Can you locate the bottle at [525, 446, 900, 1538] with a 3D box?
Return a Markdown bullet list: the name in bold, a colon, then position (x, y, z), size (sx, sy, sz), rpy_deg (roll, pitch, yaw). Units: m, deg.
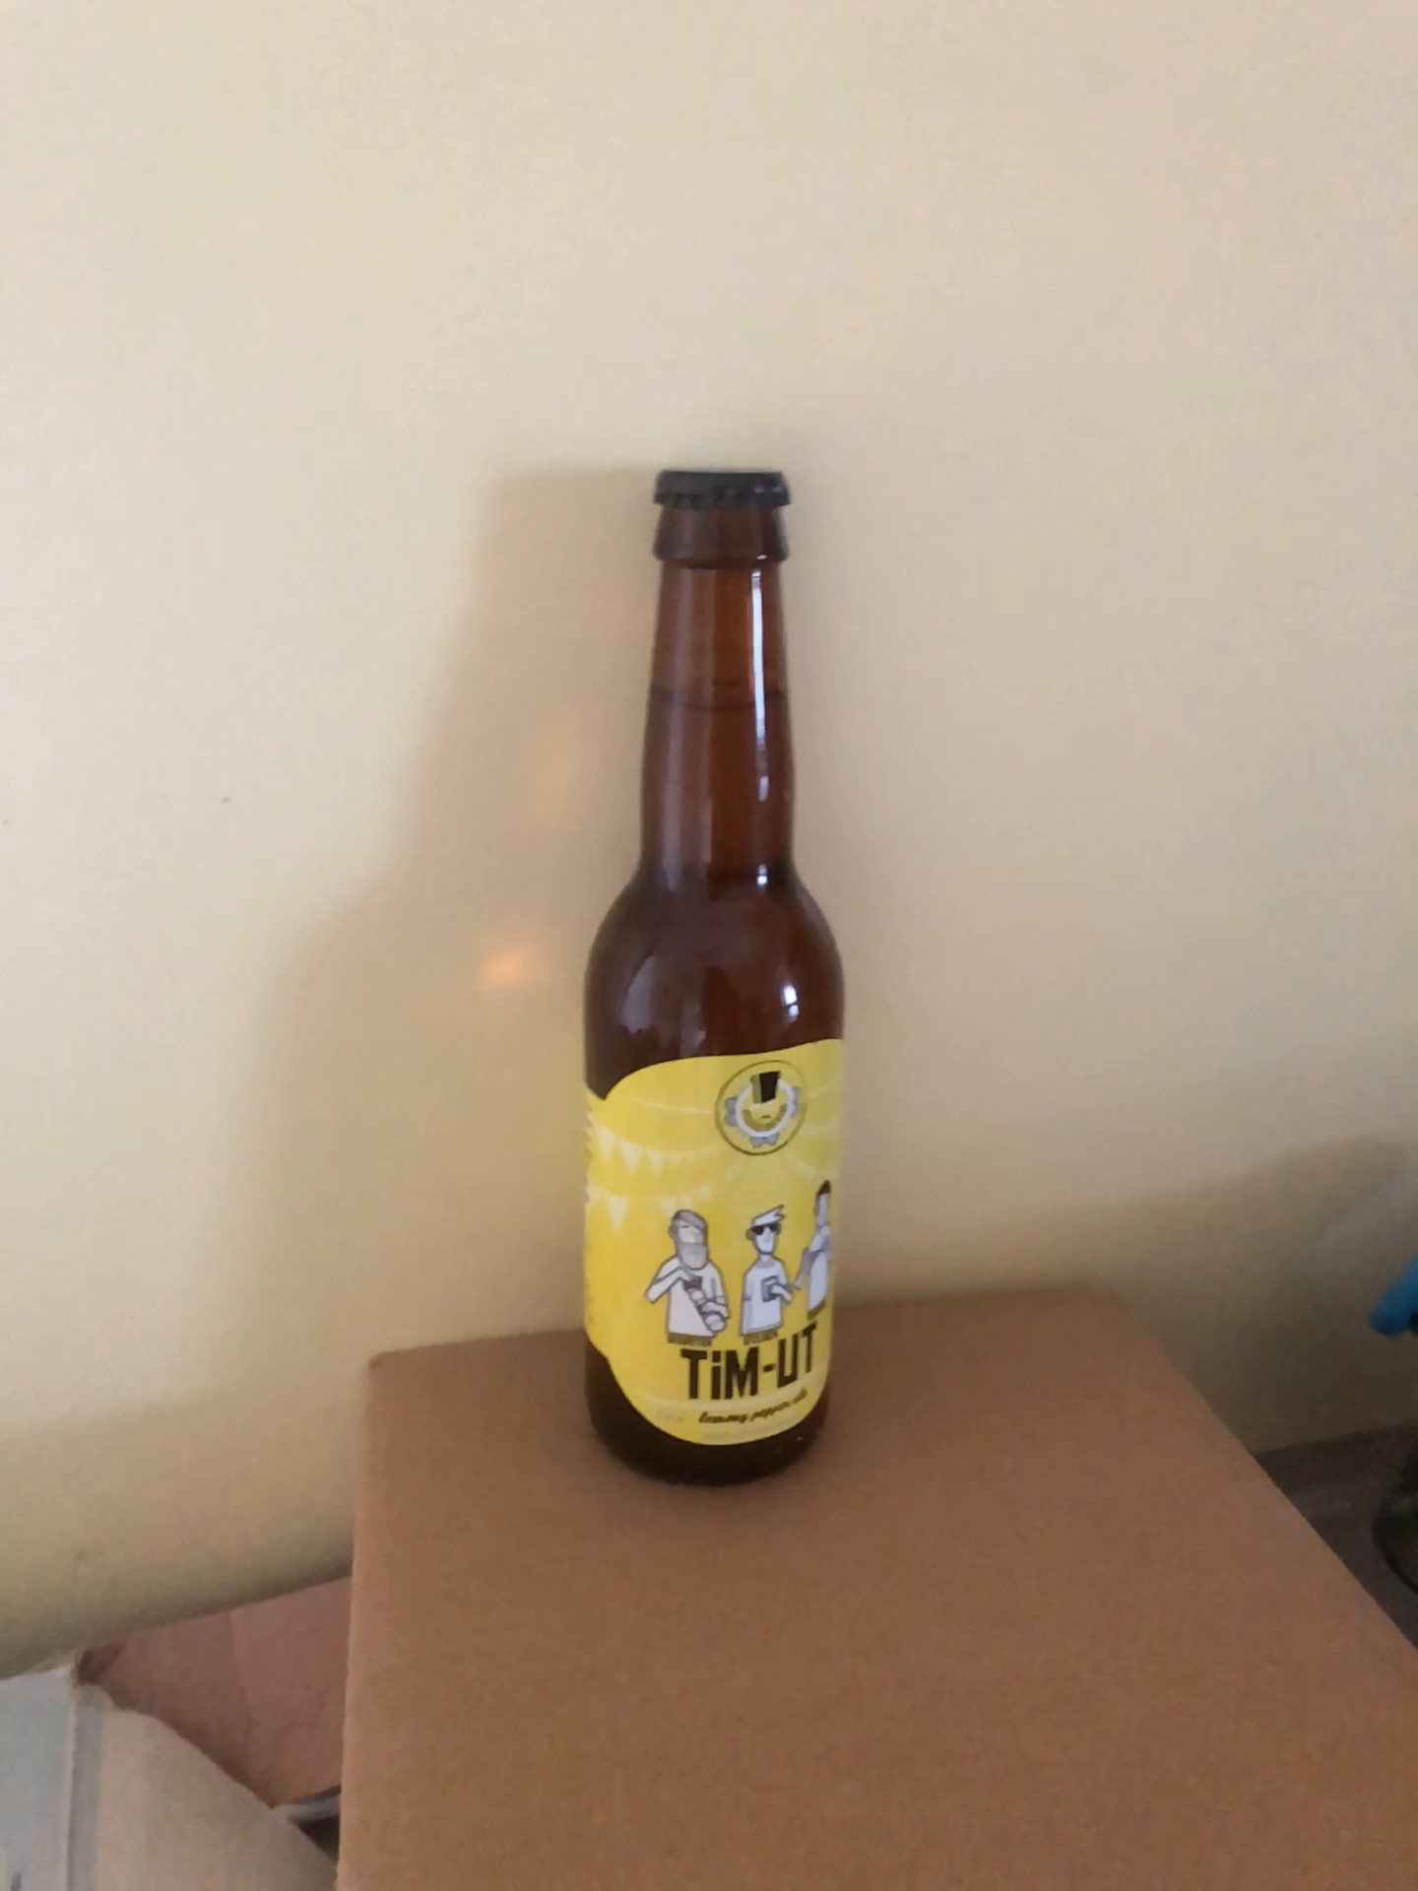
- **bottle**: position (0.001, 0.010, 0.348), size (0.060, 0.229, 0.060), rpy_deg (-1, 18, 0)
